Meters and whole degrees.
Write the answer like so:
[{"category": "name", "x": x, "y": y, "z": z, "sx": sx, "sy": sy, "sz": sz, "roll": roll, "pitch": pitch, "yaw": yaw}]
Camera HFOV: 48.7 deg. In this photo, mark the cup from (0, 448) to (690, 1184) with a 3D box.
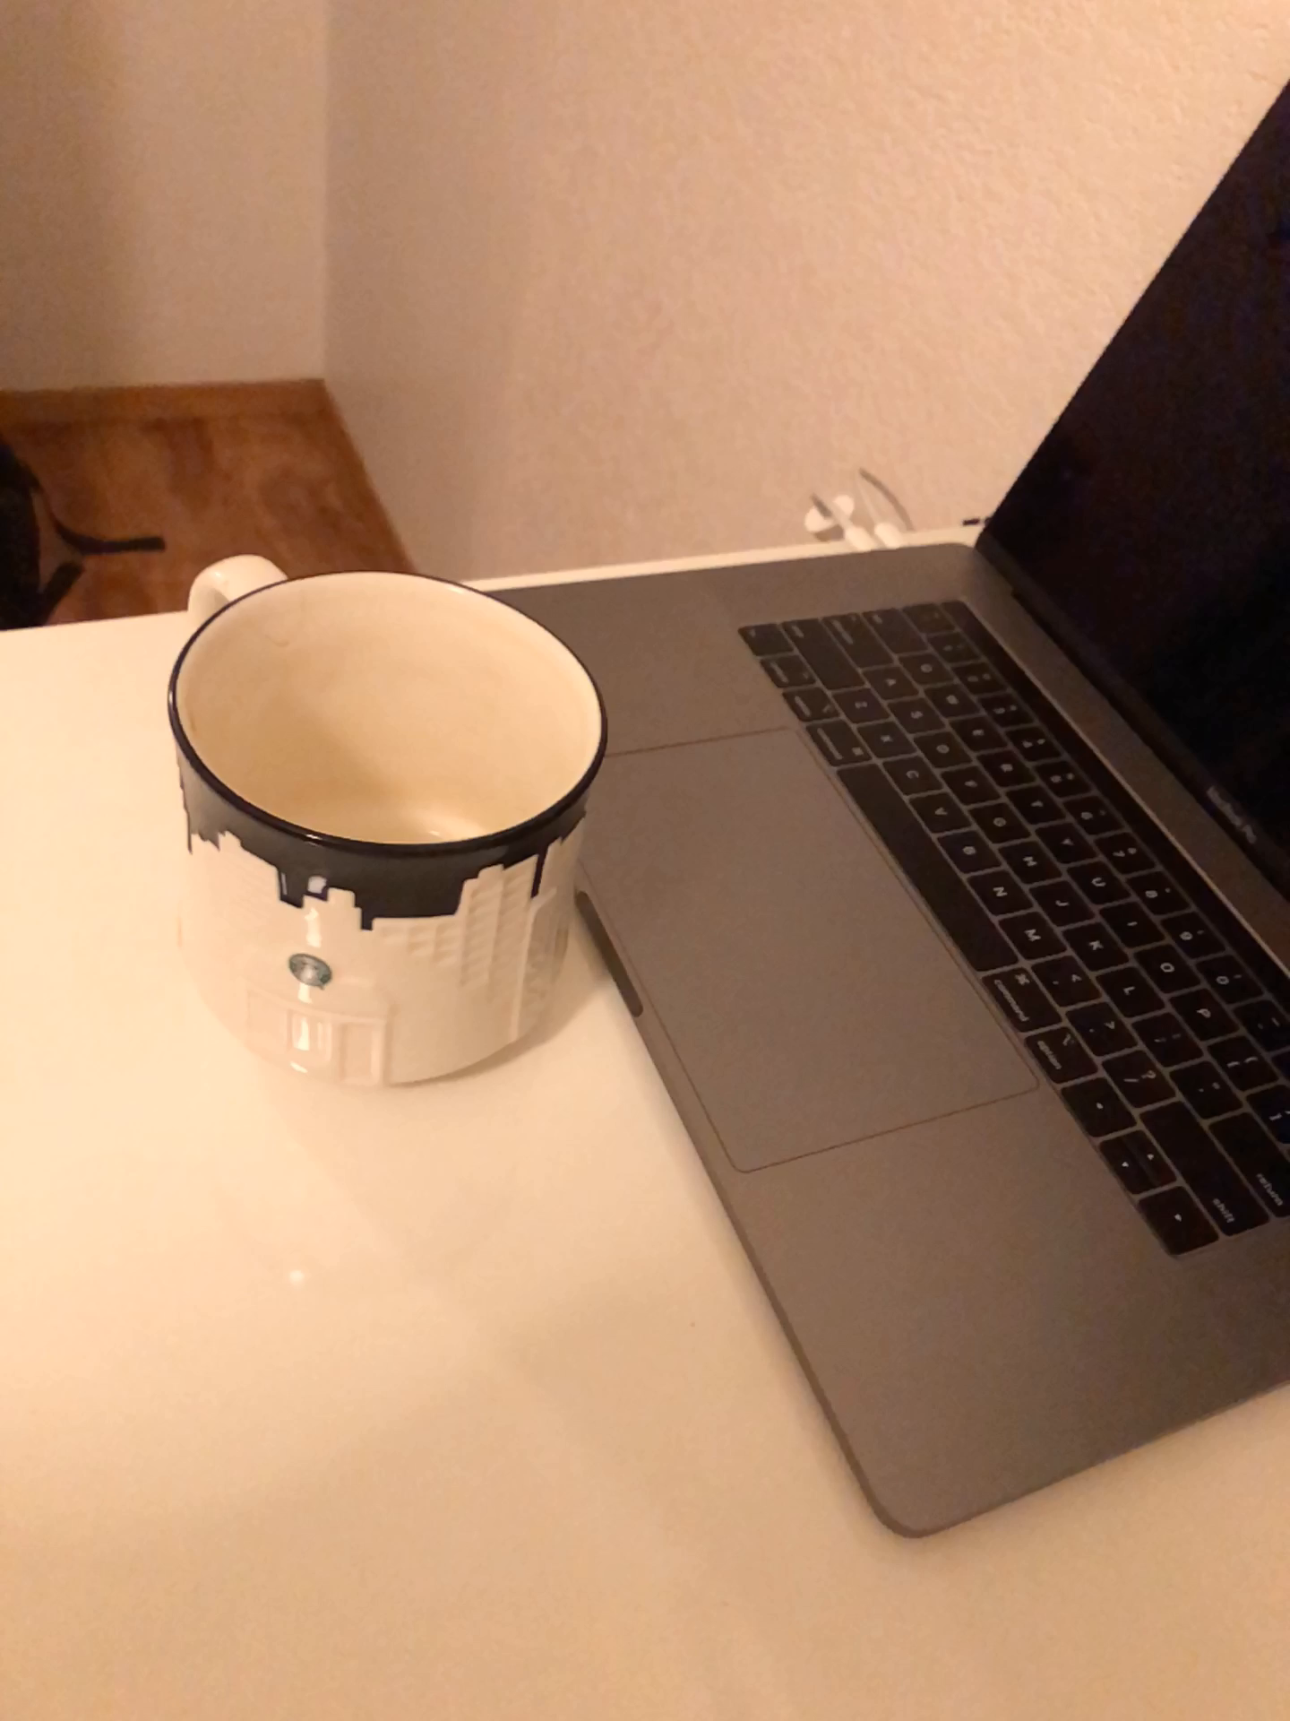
[{"category": "cup", "x": -0.087, "y": -0.020, "z": 0.391, "sx": 0.110, "sy": 0.099, "sz": 0.150, "roll": -30, "pitch": 58, "yaw": -35}]
